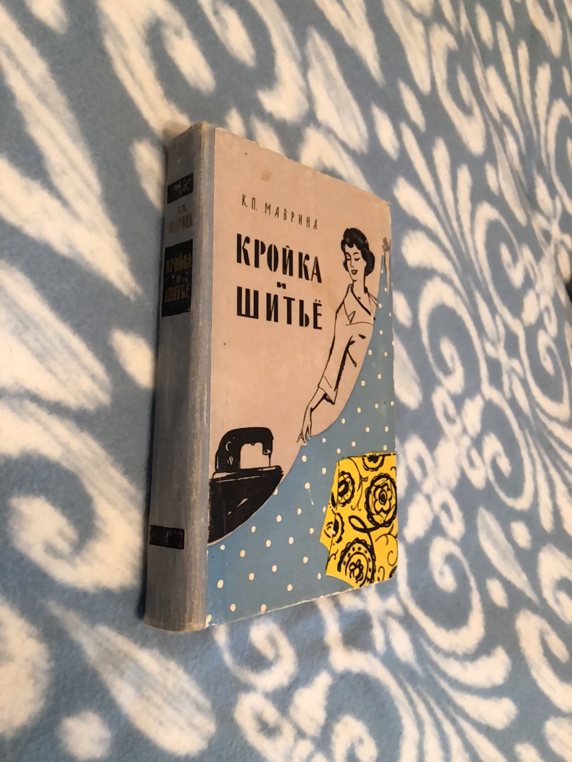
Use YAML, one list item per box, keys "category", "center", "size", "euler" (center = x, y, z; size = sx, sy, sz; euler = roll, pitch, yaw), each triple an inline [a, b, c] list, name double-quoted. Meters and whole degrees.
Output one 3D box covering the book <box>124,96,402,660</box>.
- category: "book"
  center: [-0.002, 0.000, 0.324]
  size: [0.152, 0.037, 0.231]
  euler: [6, 82, -44]
